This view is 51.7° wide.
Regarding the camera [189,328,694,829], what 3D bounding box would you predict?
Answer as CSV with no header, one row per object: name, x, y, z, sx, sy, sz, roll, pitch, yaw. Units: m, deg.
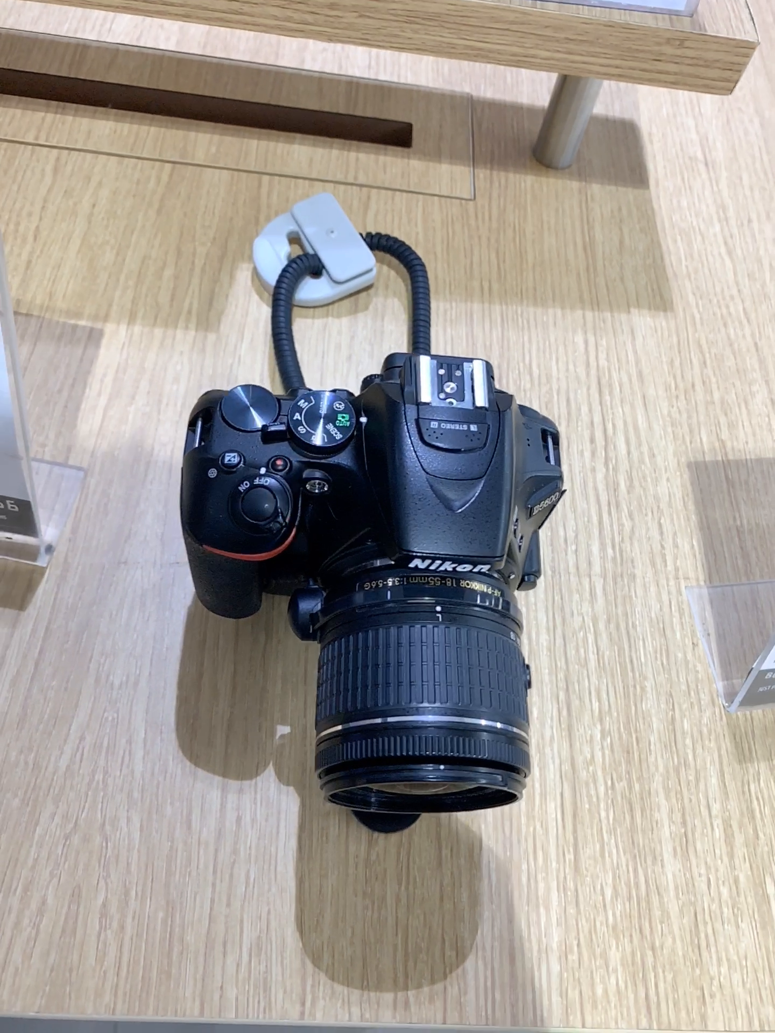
camera,0.007,0.022,0.234,0.110,0.080,0.120,3,61,-8
